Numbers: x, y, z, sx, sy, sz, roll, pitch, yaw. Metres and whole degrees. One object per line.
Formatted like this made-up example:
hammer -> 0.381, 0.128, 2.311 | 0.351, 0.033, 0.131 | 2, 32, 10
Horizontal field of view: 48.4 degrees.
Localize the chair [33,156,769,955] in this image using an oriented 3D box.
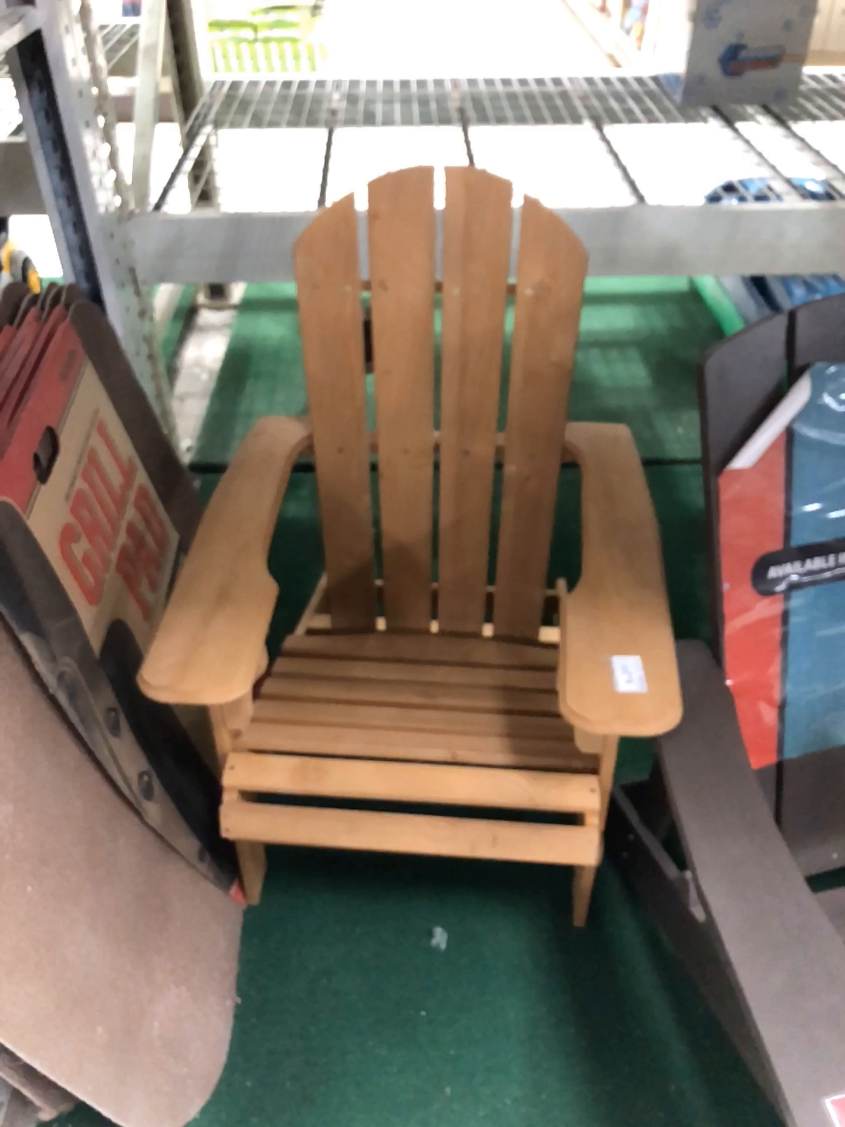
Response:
chair -> 0.004, -0.012, 1.360 | 0.641, 0.885, 0.690 | 3, 40, 4
